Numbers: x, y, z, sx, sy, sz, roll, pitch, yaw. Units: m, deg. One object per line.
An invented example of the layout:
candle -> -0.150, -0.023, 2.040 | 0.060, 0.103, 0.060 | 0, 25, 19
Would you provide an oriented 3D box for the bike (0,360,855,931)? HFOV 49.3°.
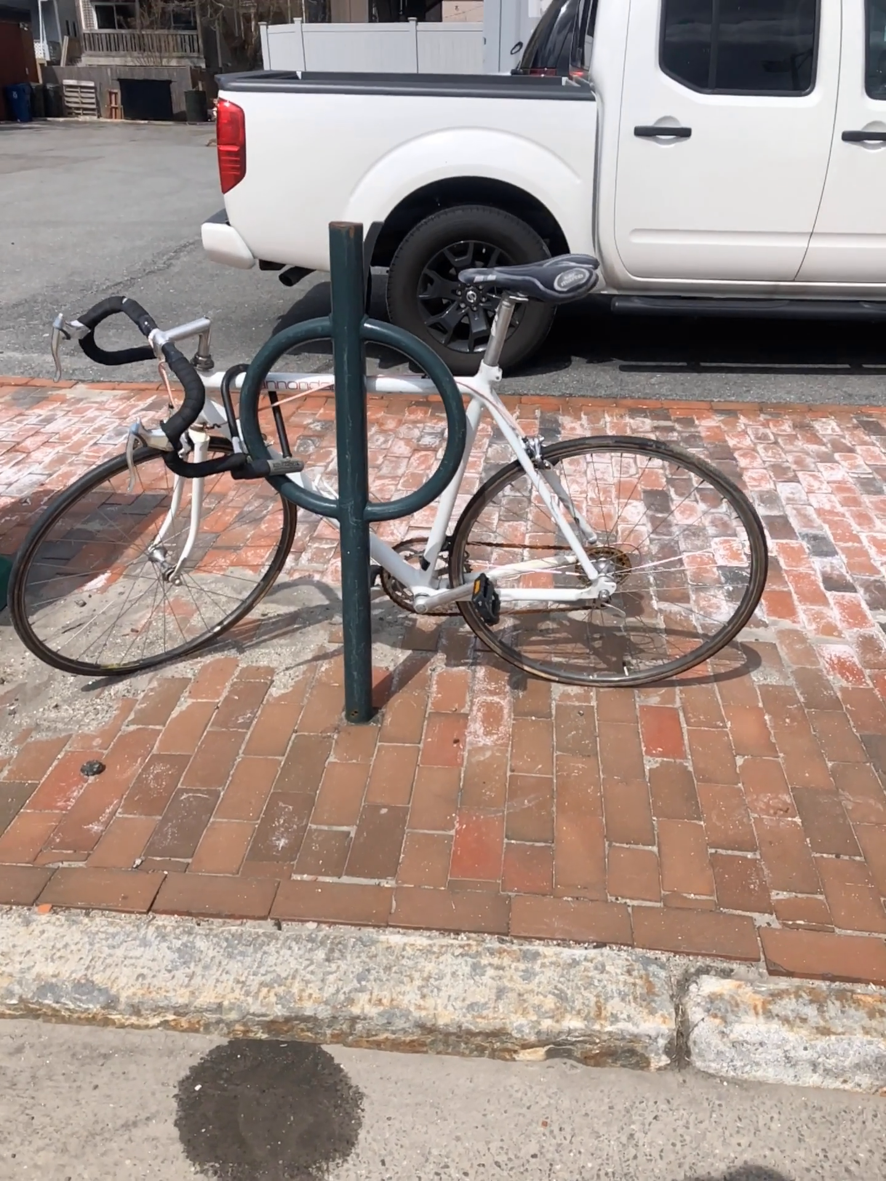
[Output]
bike -> -0.087, 0.062, 1.565 | 1.274, 0.650, 0.467 | -4, 27, -2
